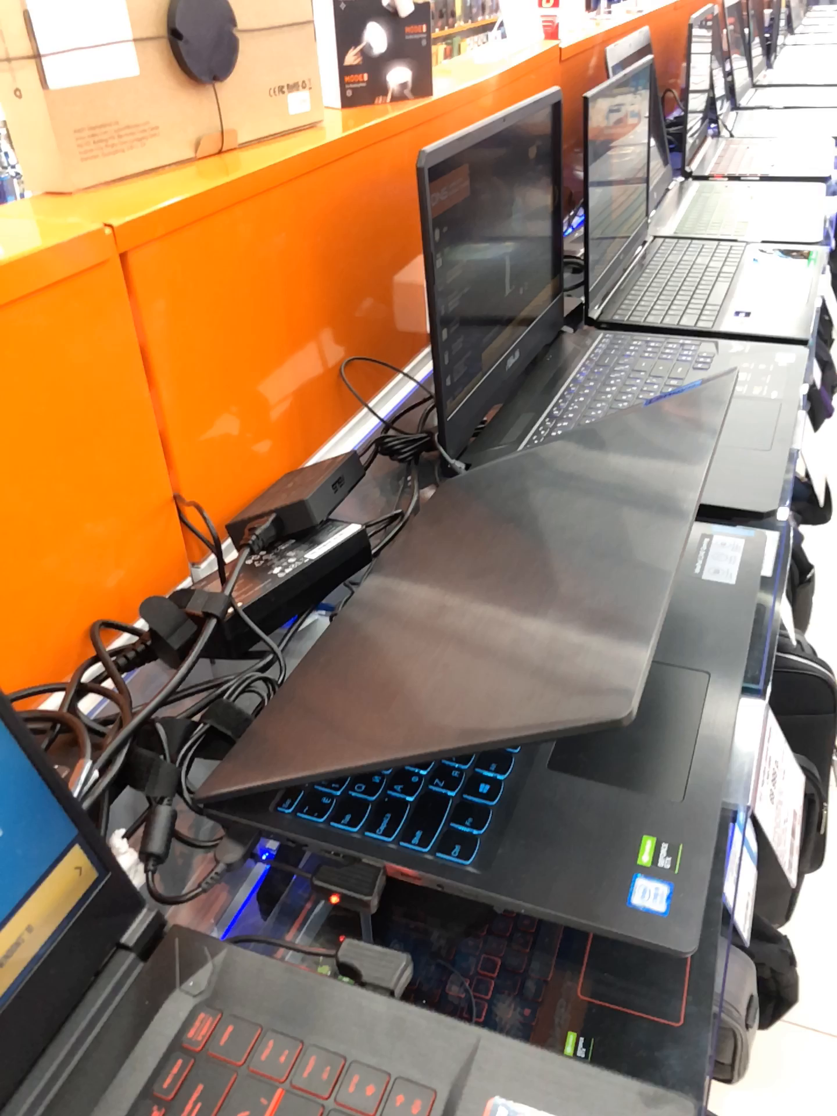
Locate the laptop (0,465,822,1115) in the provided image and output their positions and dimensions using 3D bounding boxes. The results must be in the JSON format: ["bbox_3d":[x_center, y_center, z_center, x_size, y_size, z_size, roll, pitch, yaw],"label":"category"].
[{"bbox_3d":[-0.118,0.168,0.175,0.325,0.228,0.350,8,32,19],"label":"laptop"}]

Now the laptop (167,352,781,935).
[{"bbox_3d":[0.066,0.005,0.543,0.240,0.118,0.349,9,35,20],"label":"laptop"}]

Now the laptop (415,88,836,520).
[{"bbox_3d":[0.201,-0.258,0.825,0.277,0.250,0.385,10,34,21],"label":"laptop"}]
